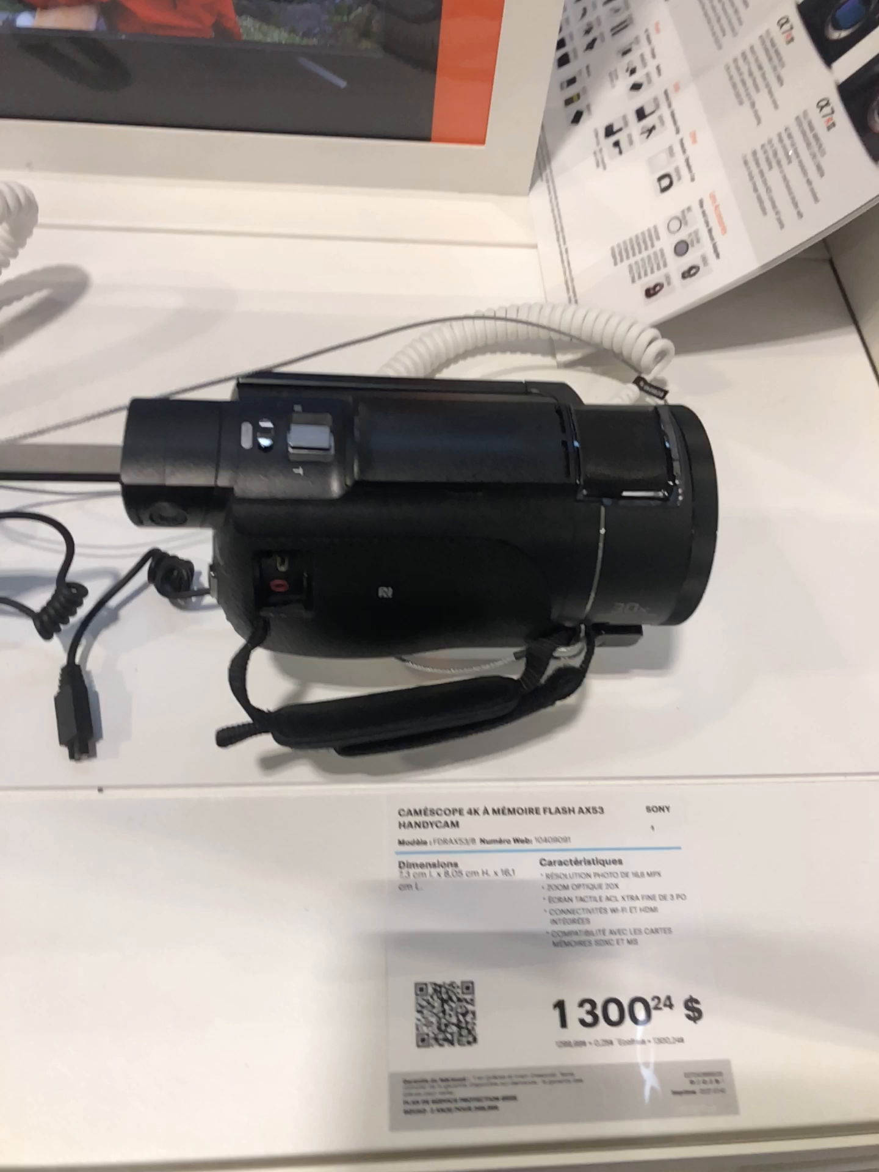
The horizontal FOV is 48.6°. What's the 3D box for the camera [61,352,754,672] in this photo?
[{"bbox_3d":[-0.009,-0.020,0.280,0.168,0.066,0.061,-1,56,-6],"label":"camera"}]
